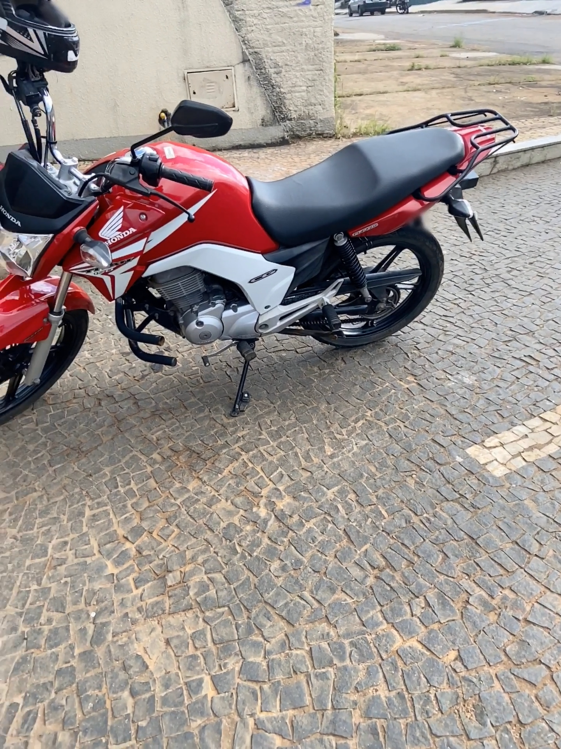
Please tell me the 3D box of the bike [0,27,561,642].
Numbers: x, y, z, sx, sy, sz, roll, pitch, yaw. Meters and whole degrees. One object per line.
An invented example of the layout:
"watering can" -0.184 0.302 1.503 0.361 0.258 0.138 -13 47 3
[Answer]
"bike" -0.130 -0.320 1.980 2.073 1.382 0.812 -19 34 -23
